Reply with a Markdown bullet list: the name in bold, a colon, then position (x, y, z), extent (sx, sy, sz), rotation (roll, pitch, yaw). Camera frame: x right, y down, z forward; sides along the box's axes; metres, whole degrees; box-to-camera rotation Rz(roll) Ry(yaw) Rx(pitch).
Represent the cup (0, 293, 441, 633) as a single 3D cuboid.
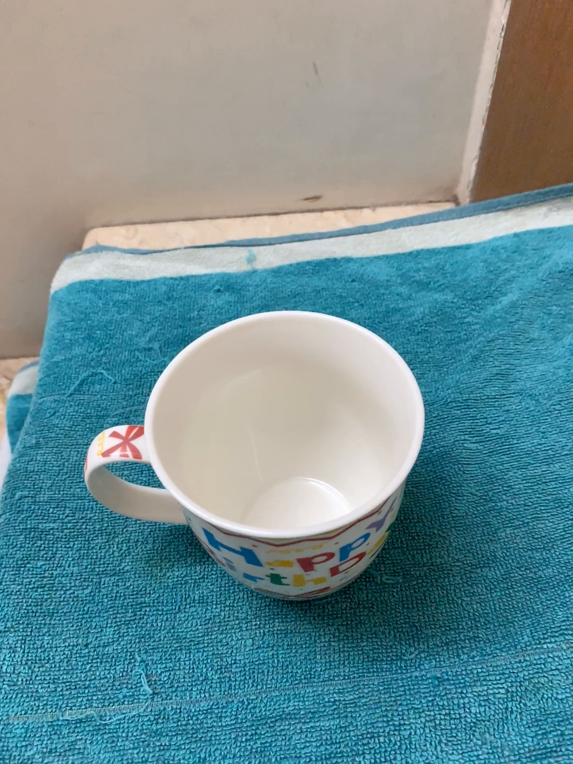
- **cup**: position (-0.019, 0.036, 0.236), extent (0.130, 0.099, 0.091), rotation (-2, 51, 3)
